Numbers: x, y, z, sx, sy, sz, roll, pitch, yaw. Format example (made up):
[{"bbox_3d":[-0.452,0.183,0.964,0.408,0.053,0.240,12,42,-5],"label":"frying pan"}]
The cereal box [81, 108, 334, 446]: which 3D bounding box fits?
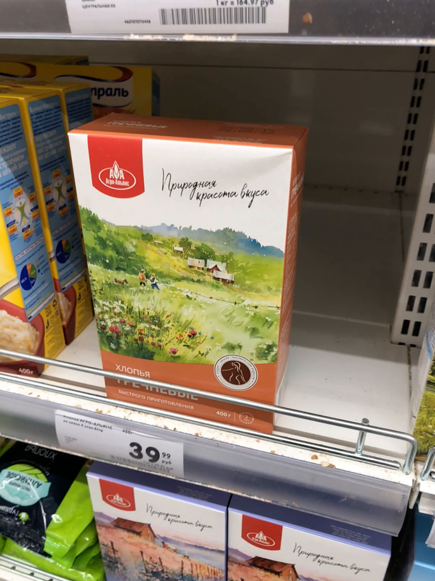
[{"bbox_3d":[-0.004,-0.007,0.319,0.130,0.199,0.060,9,30,14],"label":"cereal box"}]
